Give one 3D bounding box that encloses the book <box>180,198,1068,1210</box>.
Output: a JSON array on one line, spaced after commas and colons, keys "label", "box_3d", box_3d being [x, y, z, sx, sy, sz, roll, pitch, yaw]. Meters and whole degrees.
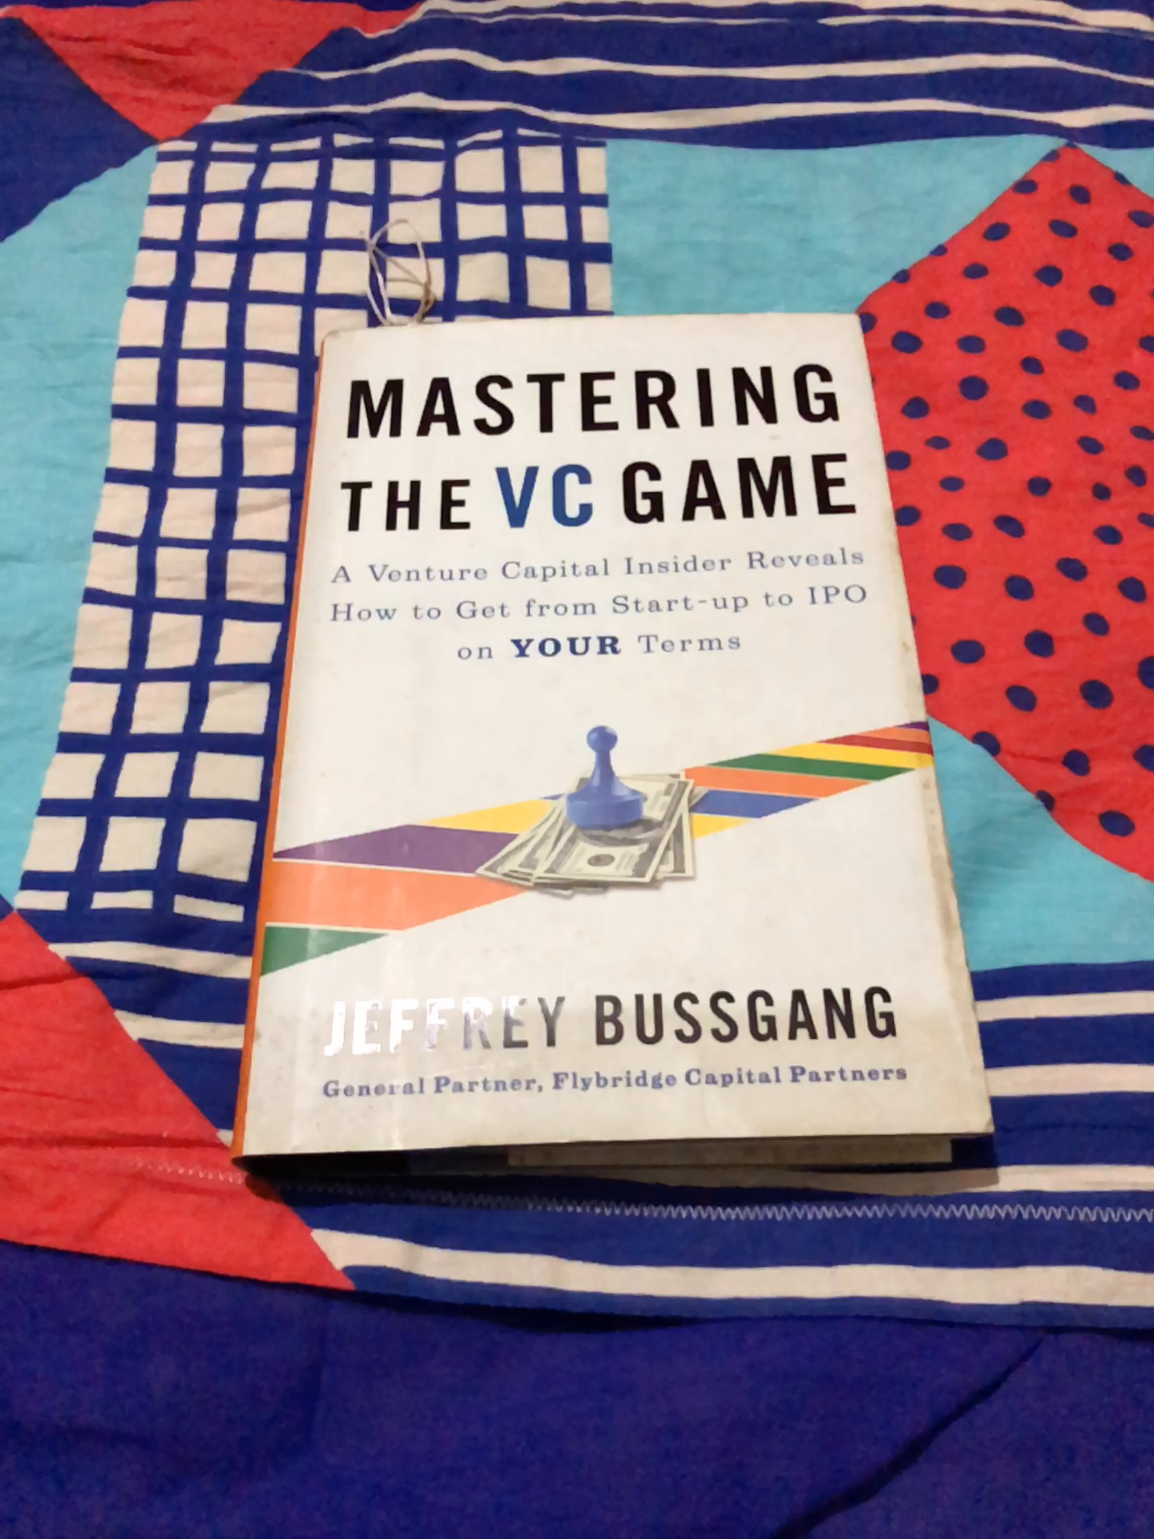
[{"label": "book", "box_3d": [0.007, -0.034, 0.349, 0.180, 0.050, 0.280, -2, 62, 1]}]
